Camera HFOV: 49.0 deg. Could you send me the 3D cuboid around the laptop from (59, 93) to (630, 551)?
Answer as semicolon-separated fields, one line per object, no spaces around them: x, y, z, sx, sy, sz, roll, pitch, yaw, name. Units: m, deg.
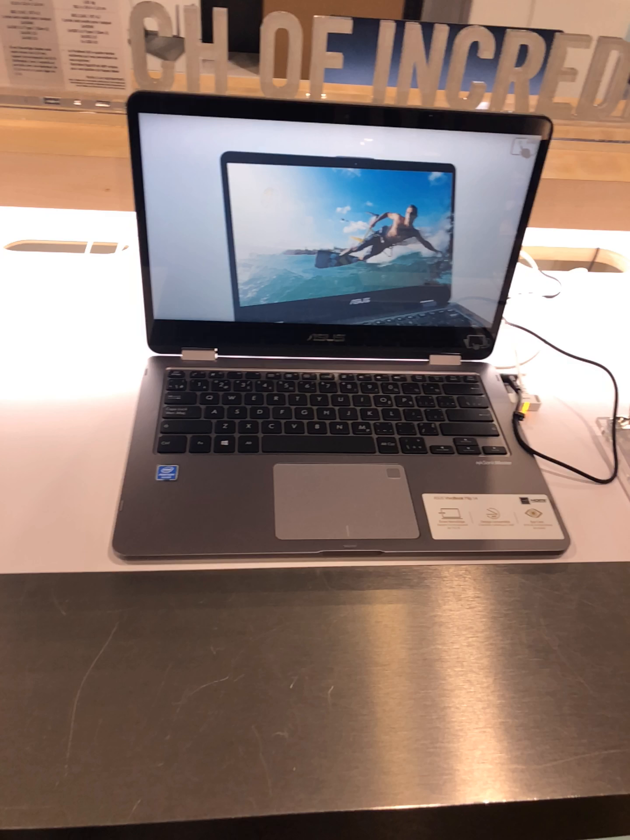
0.024;-0.064;0.463;0.303;0.210;0.211;1;42;-6;laptop
